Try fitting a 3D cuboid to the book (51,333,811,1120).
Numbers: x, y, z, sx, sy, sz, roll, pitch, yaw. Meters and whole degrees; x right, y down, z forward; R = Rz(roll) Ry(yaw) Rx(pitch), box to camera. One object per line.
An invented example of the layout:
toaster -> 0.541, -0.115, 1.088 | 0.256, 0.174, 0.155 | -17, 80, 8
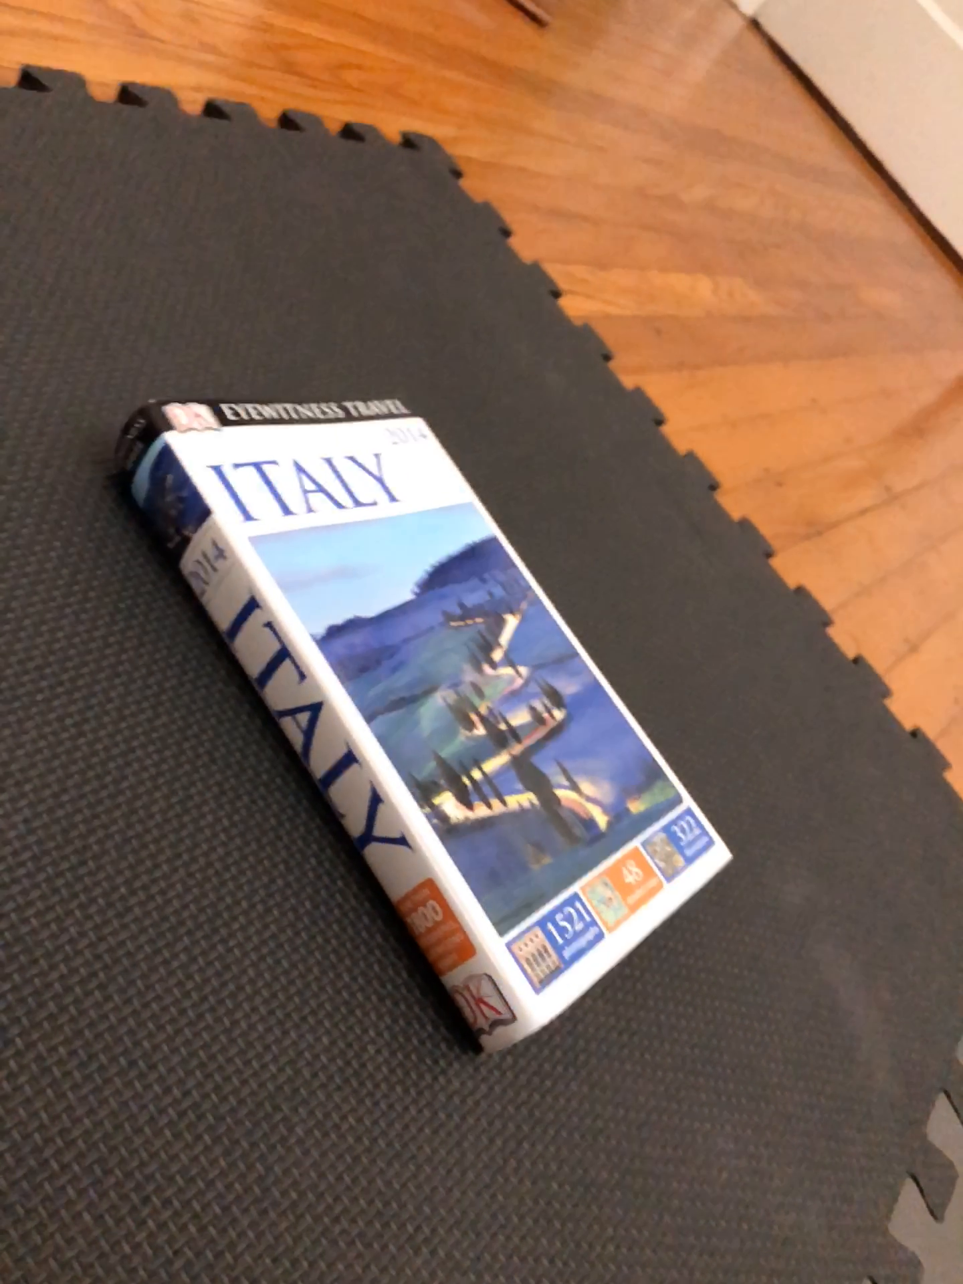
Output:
book -> -0.008, 0.002, 0.369 | 0.161, 0.040, 0.250 | -22, 72, -51
